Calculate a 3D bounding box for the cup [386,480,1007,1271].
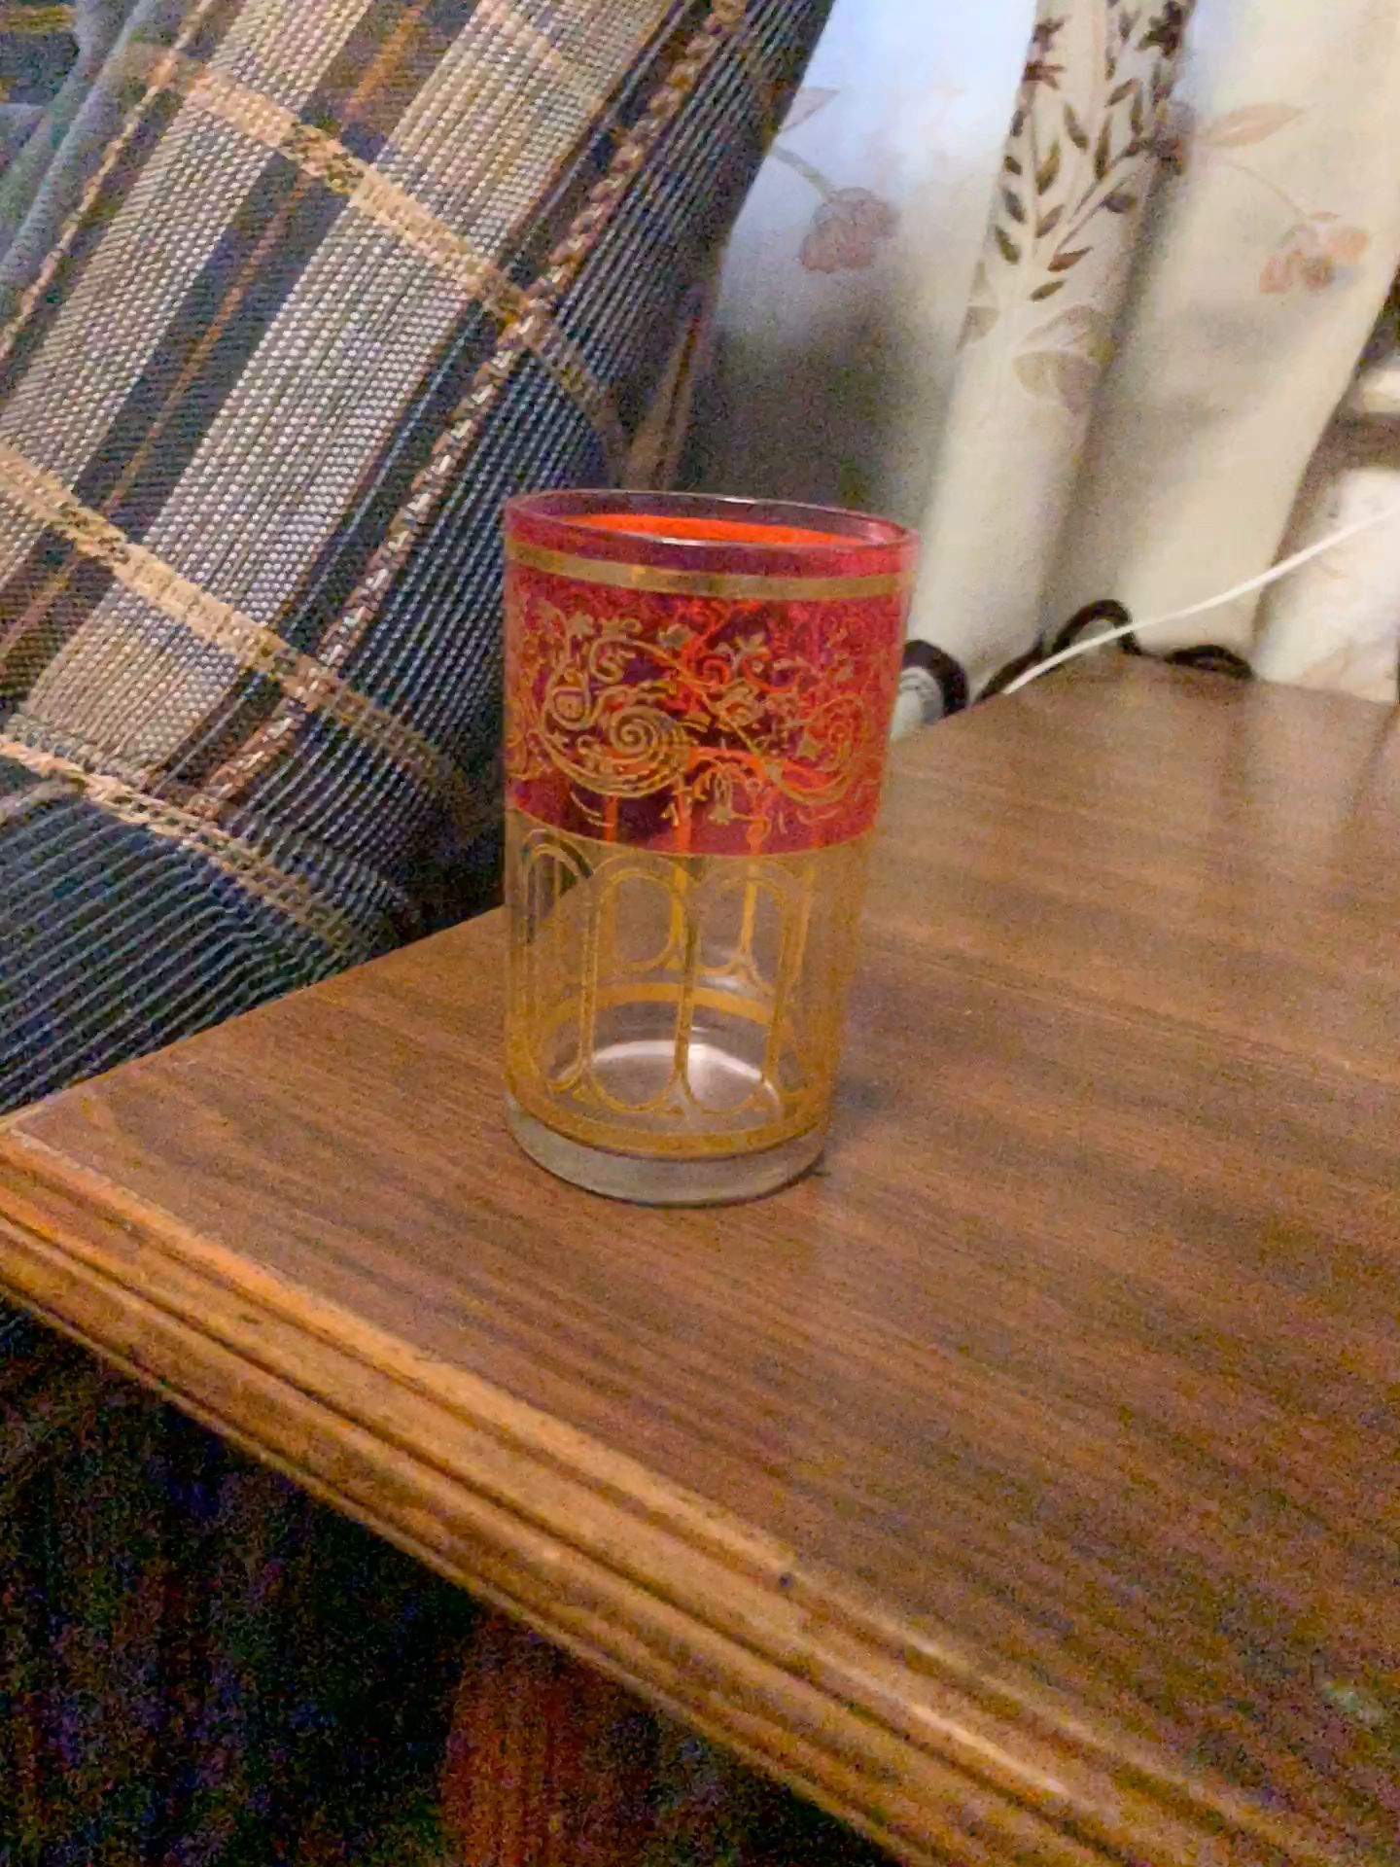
[{"bbox_3d":[0.000,-0.016,0.231,0.066,0.099,0.070,5,20,-2],"label":"cup"}]
